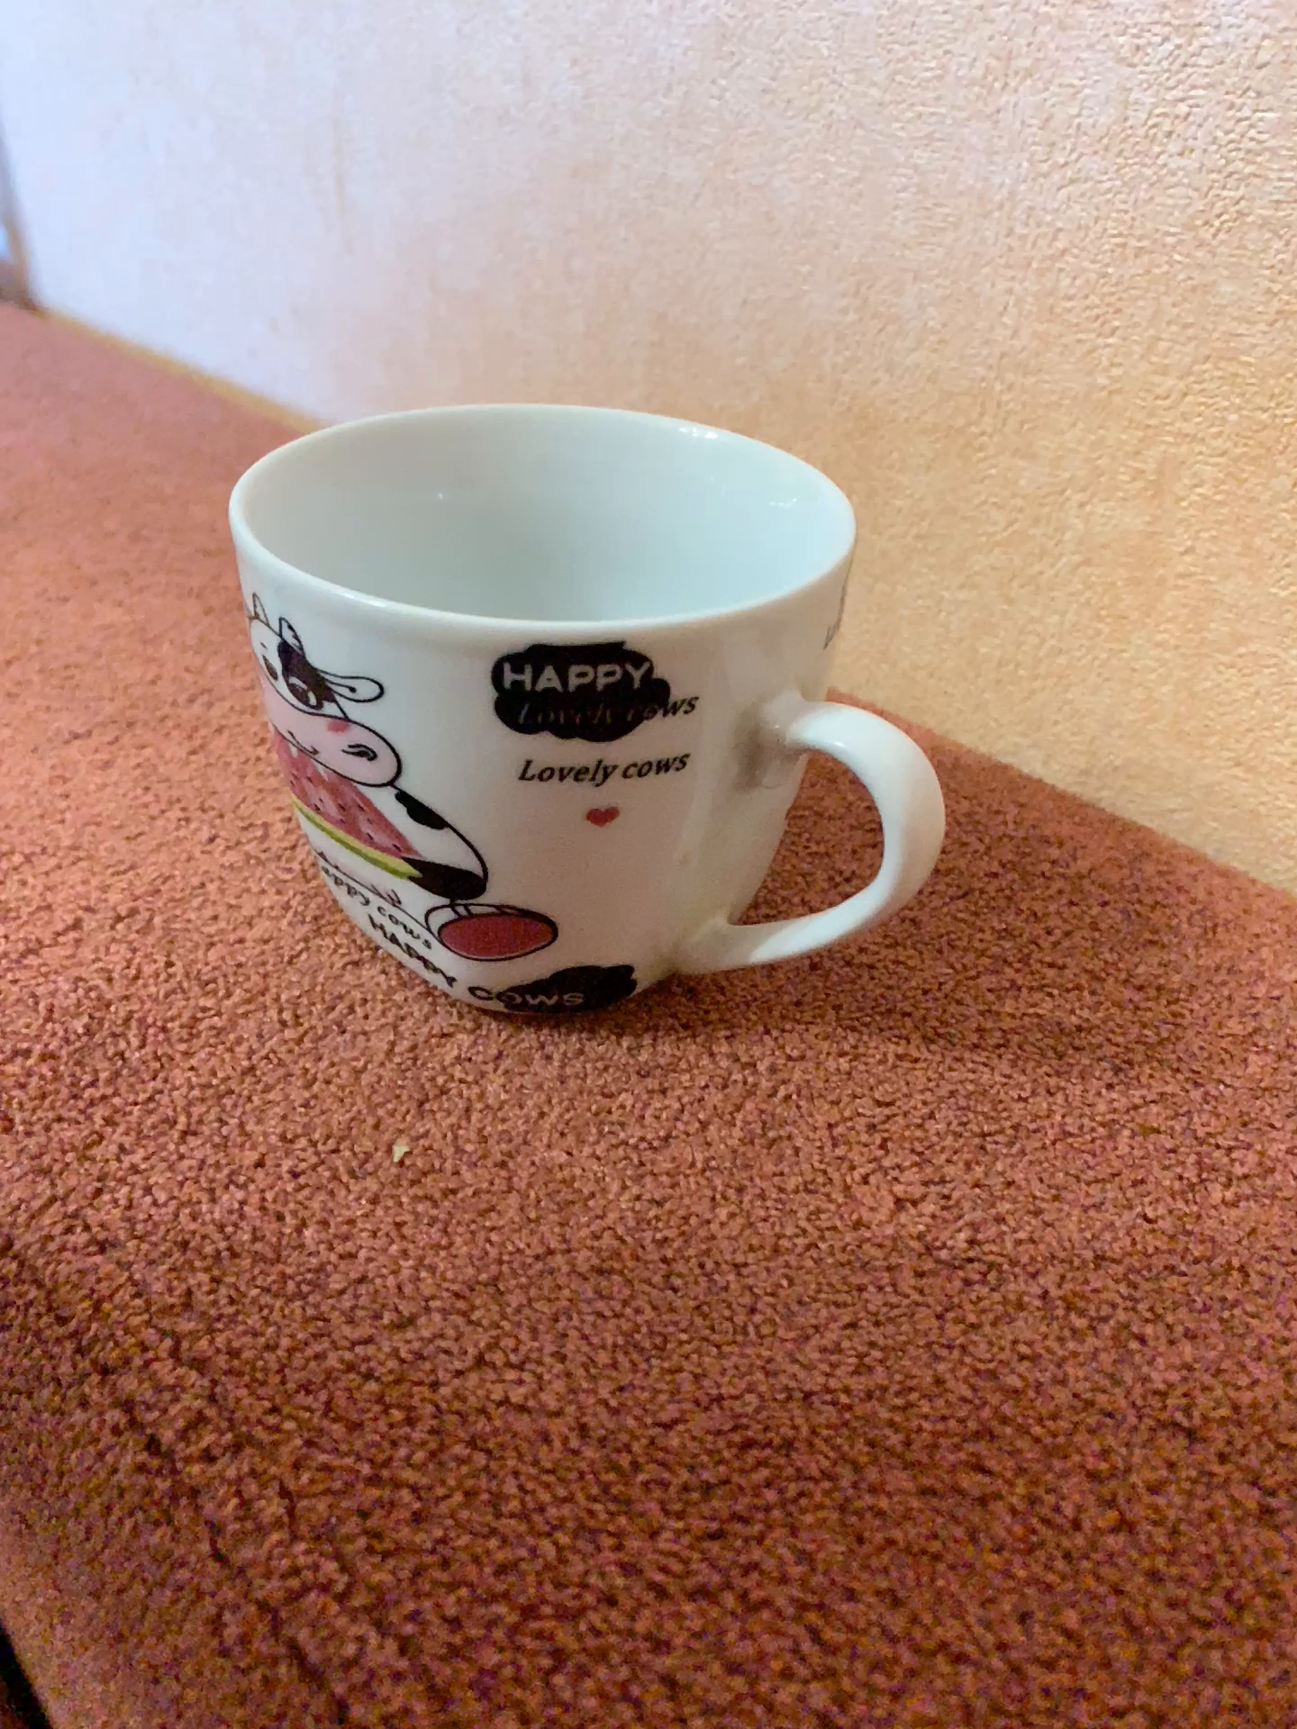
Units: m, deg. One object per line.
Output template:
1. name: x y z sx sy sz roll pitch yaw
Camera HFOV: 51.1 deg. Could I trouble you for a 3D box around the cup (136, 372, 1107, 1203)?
1. cup: -0.007 -0.021 0.184 0.079 0.056 0.095 -24 42 -32
